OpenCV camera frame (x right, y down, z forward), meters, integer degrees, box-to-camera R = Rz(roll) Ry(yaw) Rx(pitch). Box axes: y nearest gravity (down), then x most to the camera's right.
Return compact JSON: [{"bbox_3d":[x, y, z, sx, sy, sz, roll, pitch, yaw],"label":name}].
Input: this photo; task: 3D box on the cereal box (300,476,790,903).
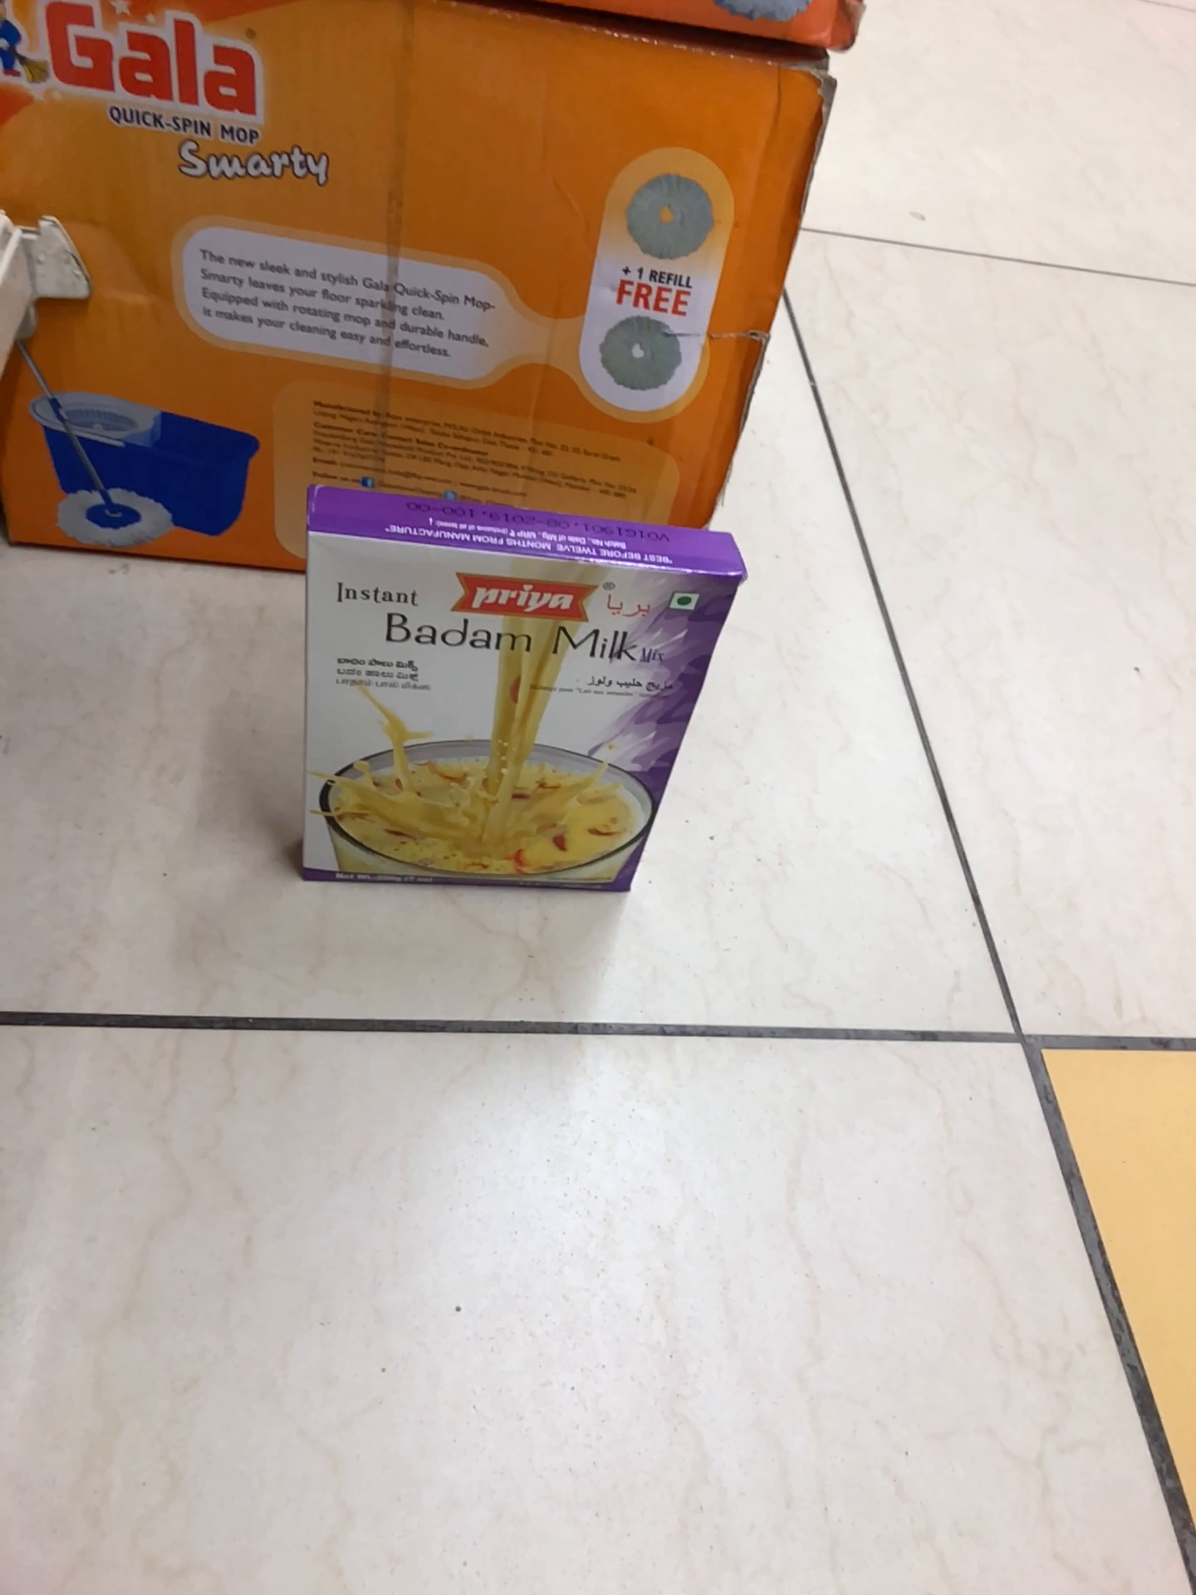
[{"bbox_3d":[-0.026,-0.025,0.417,0.130,0.149,0.030,3,49,-12],"label":"cereal box"}]
